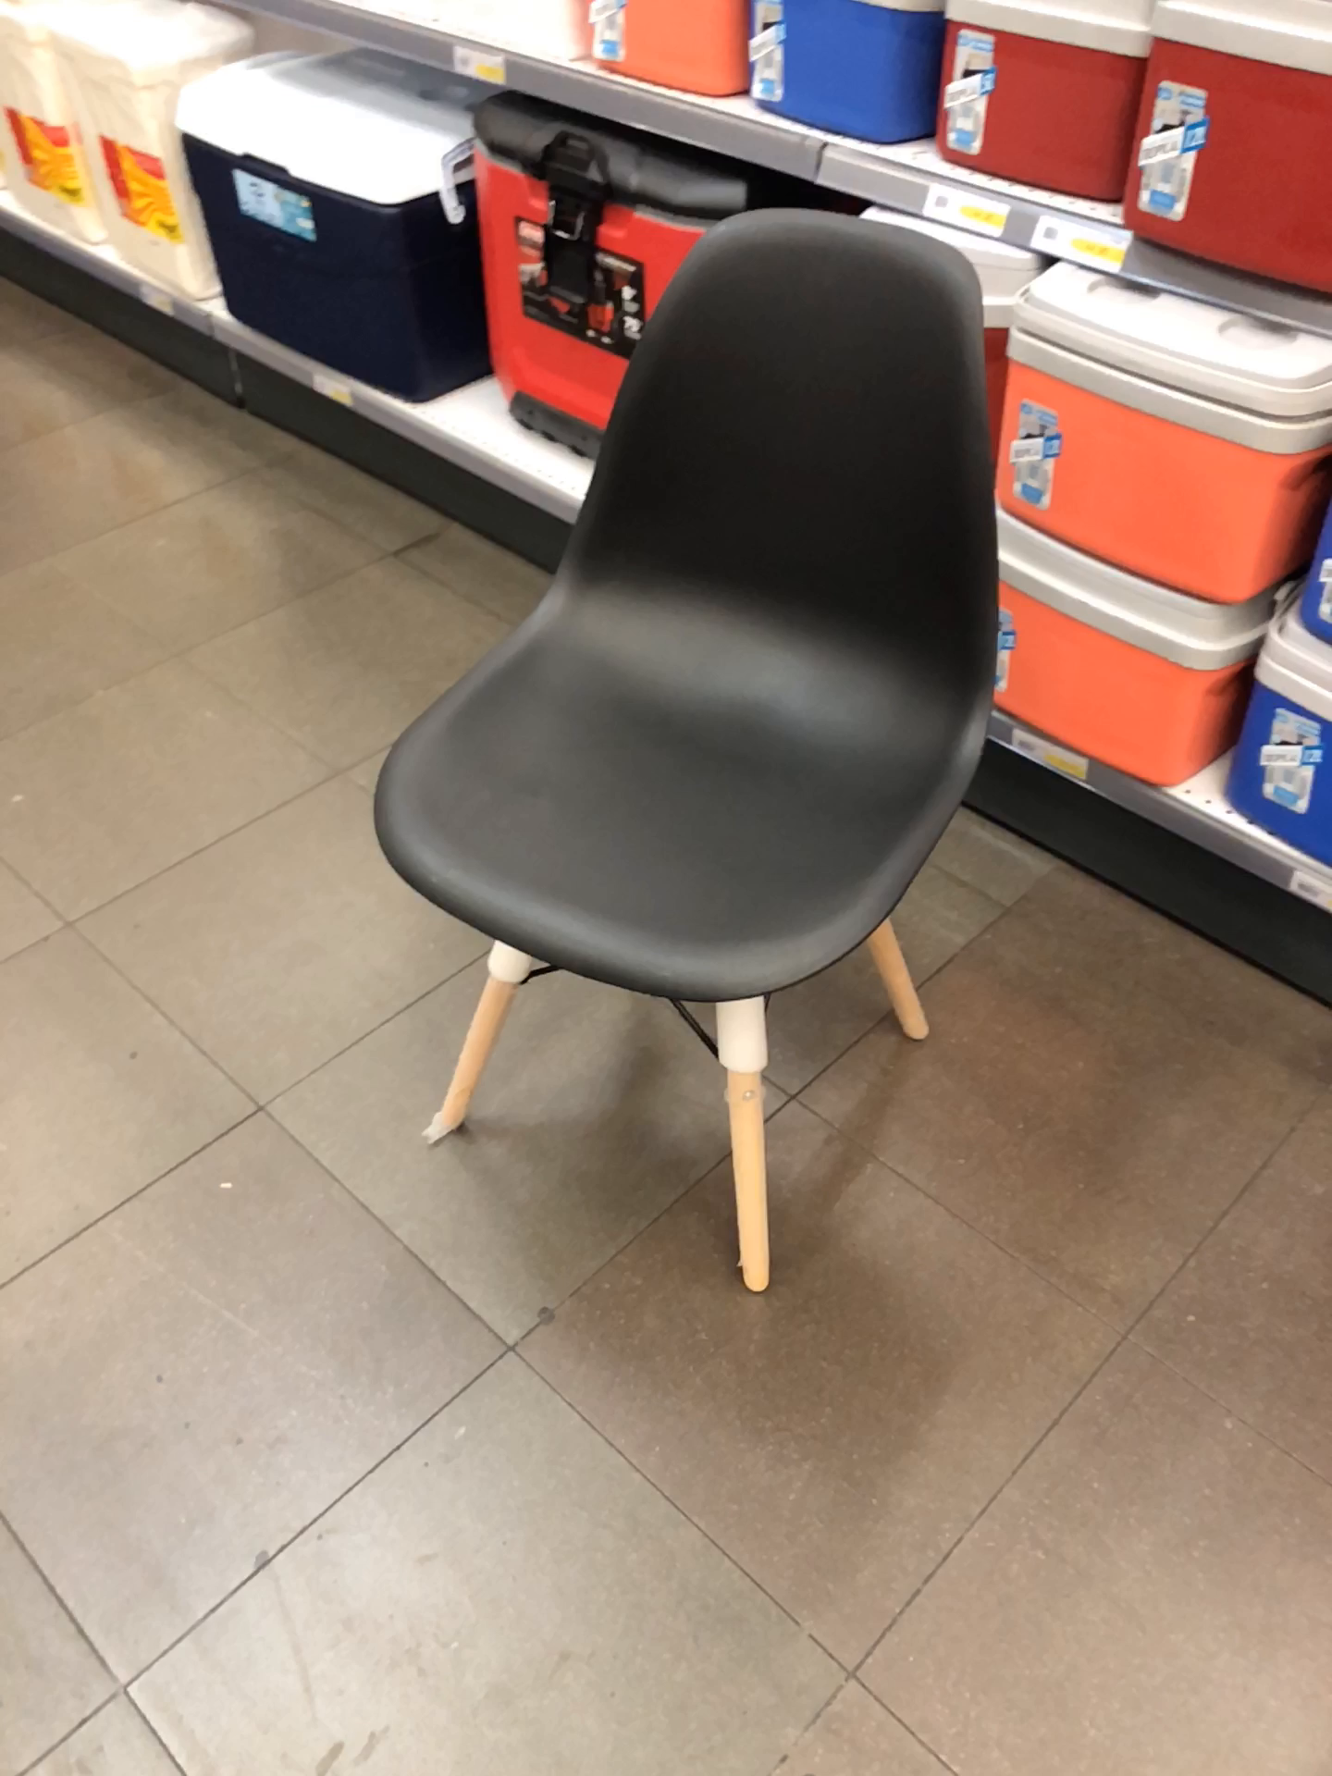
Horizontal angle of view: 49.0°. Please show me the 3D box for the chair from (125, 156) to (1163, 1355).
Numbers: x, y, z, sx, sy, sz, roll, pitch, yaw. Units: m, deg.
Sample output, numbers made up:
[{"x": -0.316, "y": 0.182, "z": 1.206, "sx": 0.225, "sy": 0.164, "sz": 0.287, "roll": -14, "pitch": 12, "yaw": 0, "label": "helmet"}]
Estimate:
[{"x": 0.018, "y": -0.125, "z": 1.248, "sx": 0.501, "sy": 0.724, "sz": 0.553, "roll": 21, "pitch": 47, "yaw": 23, "label": "chair"}]
